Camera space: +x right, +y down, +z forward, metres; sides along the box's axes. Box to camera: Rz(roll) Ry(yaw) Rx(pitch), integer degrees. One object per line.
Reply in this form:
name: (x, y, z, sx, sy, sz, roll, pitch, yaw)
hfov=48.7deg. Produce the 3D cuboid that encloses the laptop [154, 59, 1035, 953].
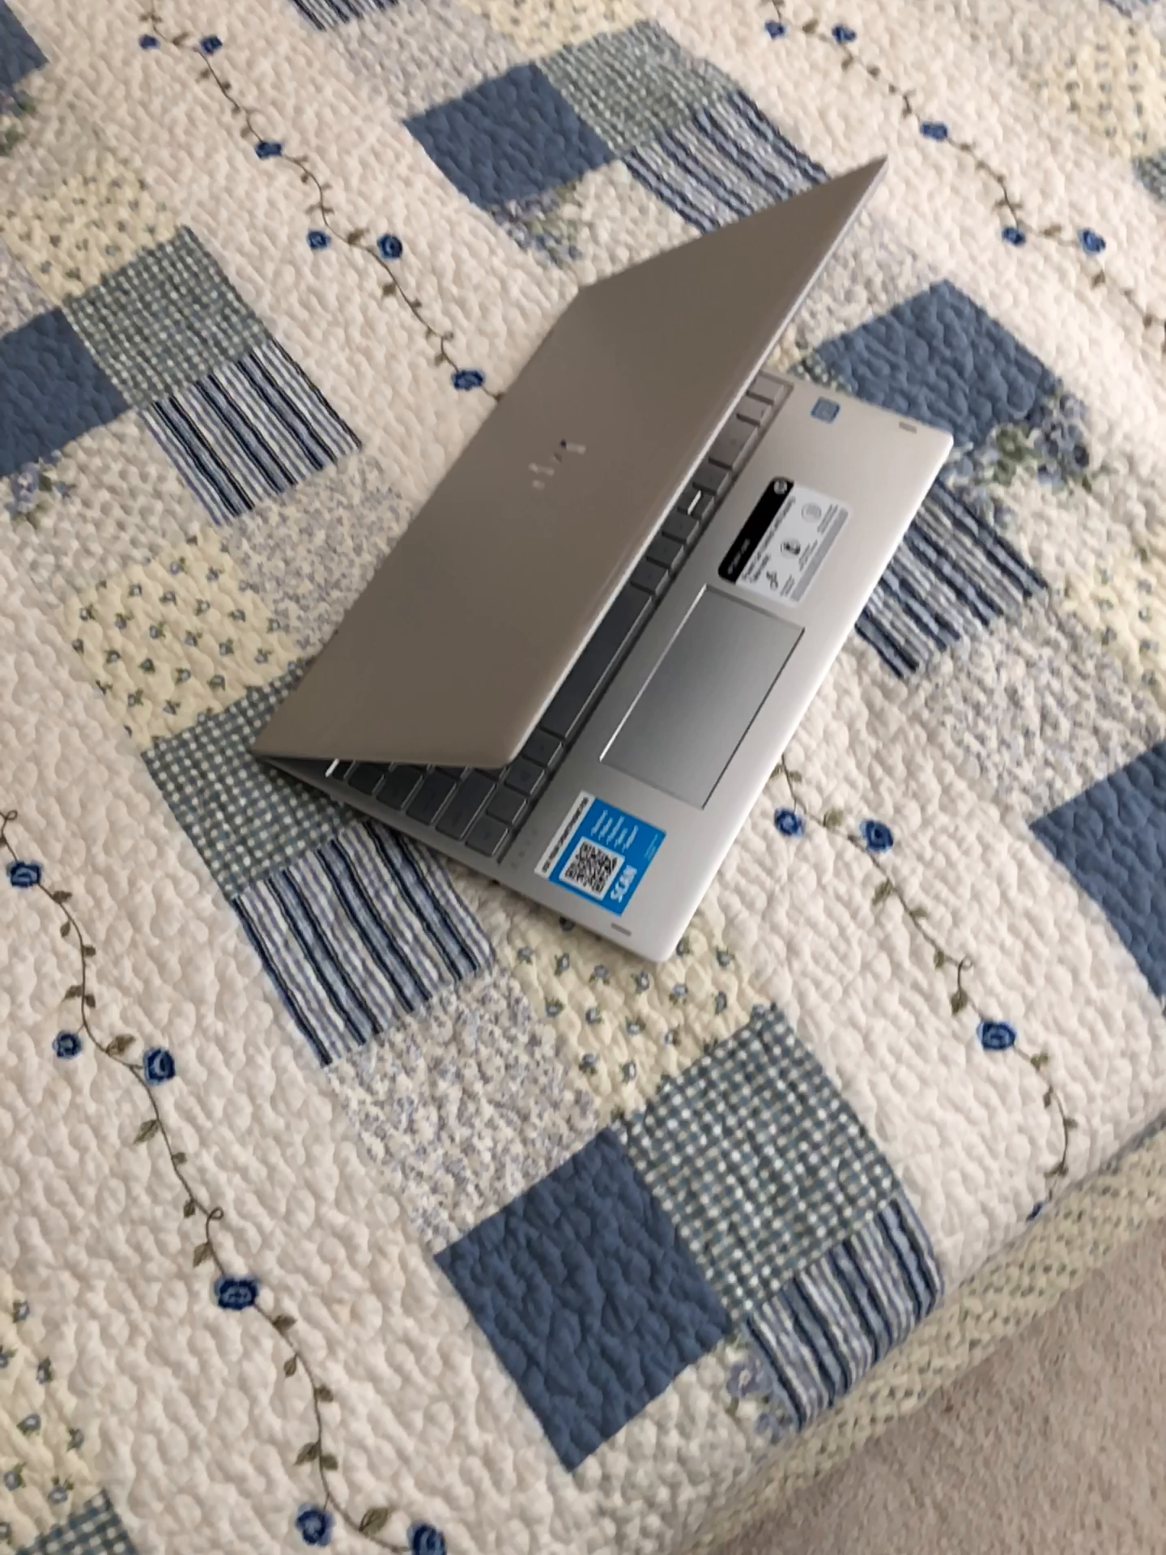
laptop: (0.018, -0.139, 0.629, 0.241, 0.158, 0.348, 26, 70, 15)
